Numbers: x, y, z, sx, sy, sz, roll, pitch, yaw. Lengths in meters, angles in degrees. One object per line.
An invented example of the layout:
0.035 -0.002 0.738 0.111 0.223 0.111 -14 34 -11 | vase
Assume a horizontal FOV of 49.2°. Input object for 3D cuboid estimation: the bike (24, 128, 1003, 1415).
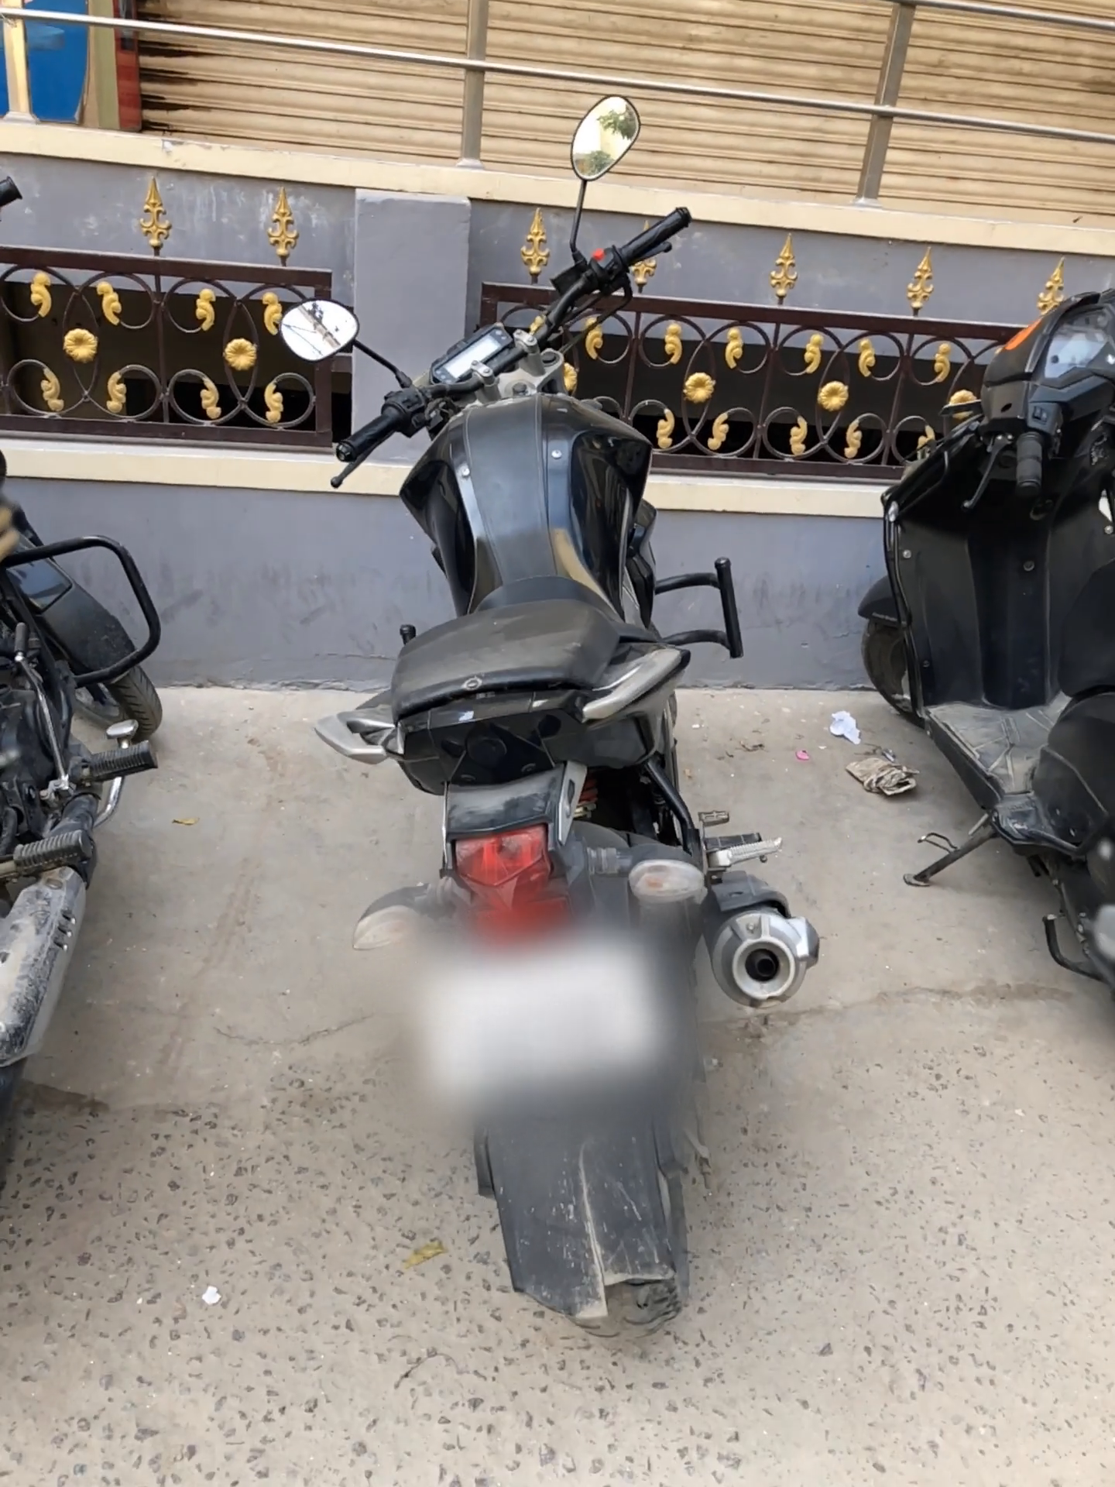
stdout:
-0.185 -0.211 1.893 0.692 1.198 1.765 2 28 -8 | bike
